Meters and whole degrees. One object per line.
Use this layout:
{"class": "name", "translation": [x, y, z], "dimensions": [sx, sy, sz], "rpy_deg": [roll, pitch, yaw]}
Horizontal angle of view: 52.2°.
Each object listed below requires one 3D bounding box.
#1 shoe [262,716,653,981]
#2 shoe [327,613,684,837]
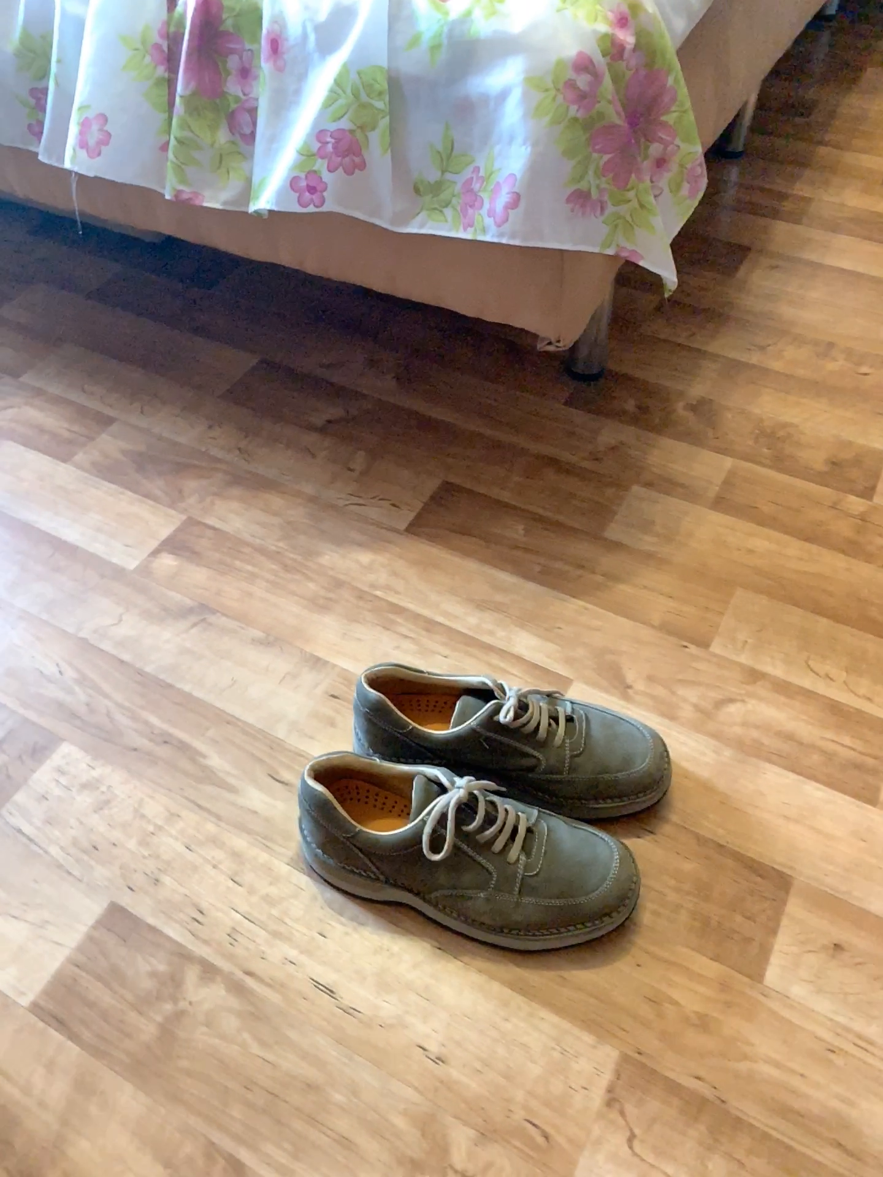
{"class": "shoe", "translation": [0.017, 0.216, 0.759], "dimensions": [0.290, 0.120, 0.120], "rpy_deg": [9, 50, 10]}
{"class": "shoe", "translation": [0.060, 0.121, 0.812], "dimensions": [0.290, 0.110, 0.120], "rpy_deg": [7, 50, 8]}
